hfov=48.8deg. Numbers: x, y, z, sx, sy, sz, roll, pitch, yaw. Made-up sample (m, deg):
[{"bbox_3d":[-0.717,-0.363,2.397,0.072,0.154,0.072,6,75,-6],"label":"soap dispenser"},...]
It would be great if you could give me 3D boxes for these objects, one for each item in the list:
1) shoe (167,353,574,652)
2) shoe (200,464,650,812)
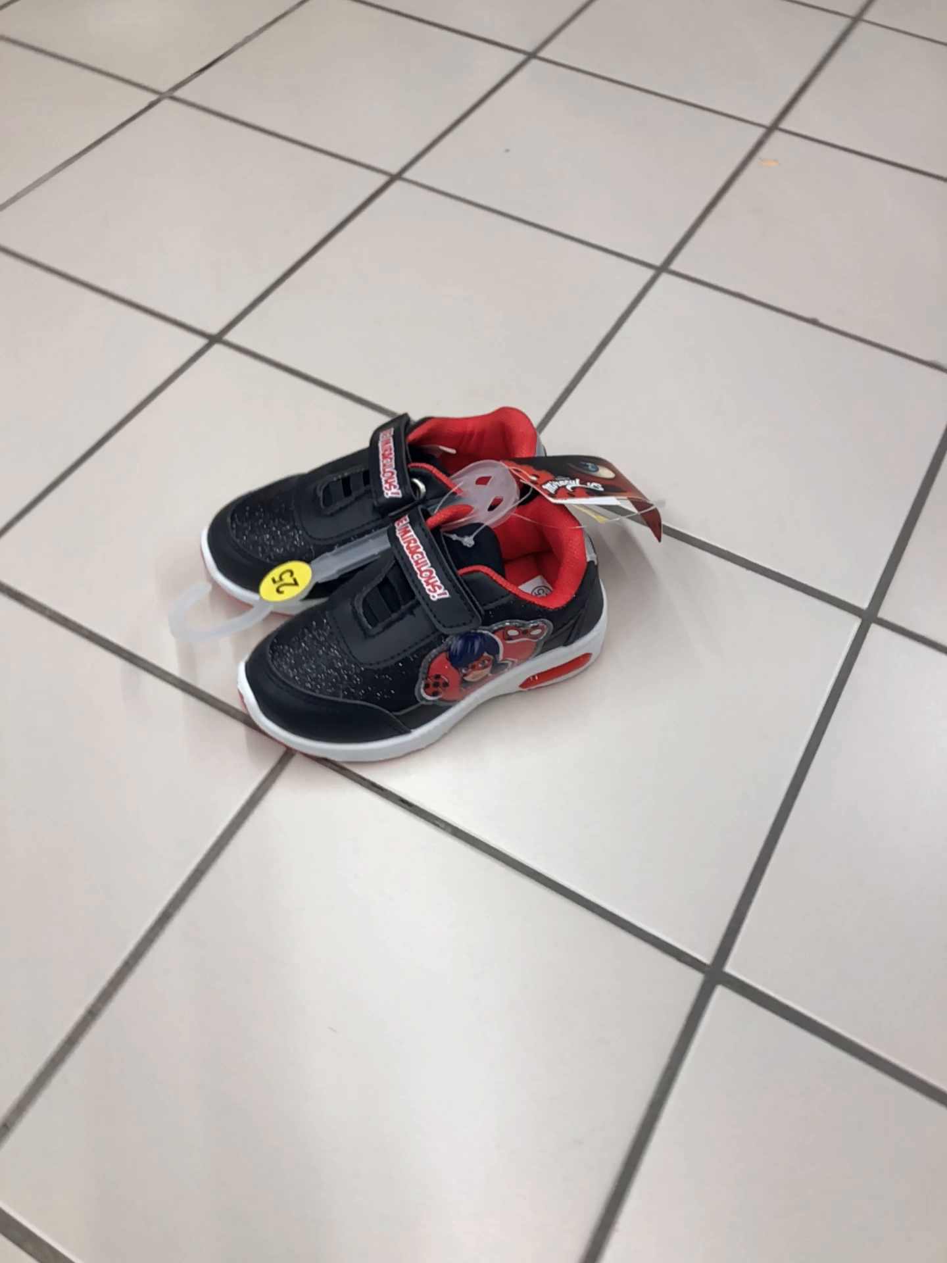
[{"bbox_3d":[-0.047,-0.063,0.494,0.166,0.069,0.075,-17,57,-13],"label":"shoe"},{"bbox_3d":[-0.020,0.001,0.457,0.168,0.071,0.077,-19,57,-15],"label":"shoe"}]
